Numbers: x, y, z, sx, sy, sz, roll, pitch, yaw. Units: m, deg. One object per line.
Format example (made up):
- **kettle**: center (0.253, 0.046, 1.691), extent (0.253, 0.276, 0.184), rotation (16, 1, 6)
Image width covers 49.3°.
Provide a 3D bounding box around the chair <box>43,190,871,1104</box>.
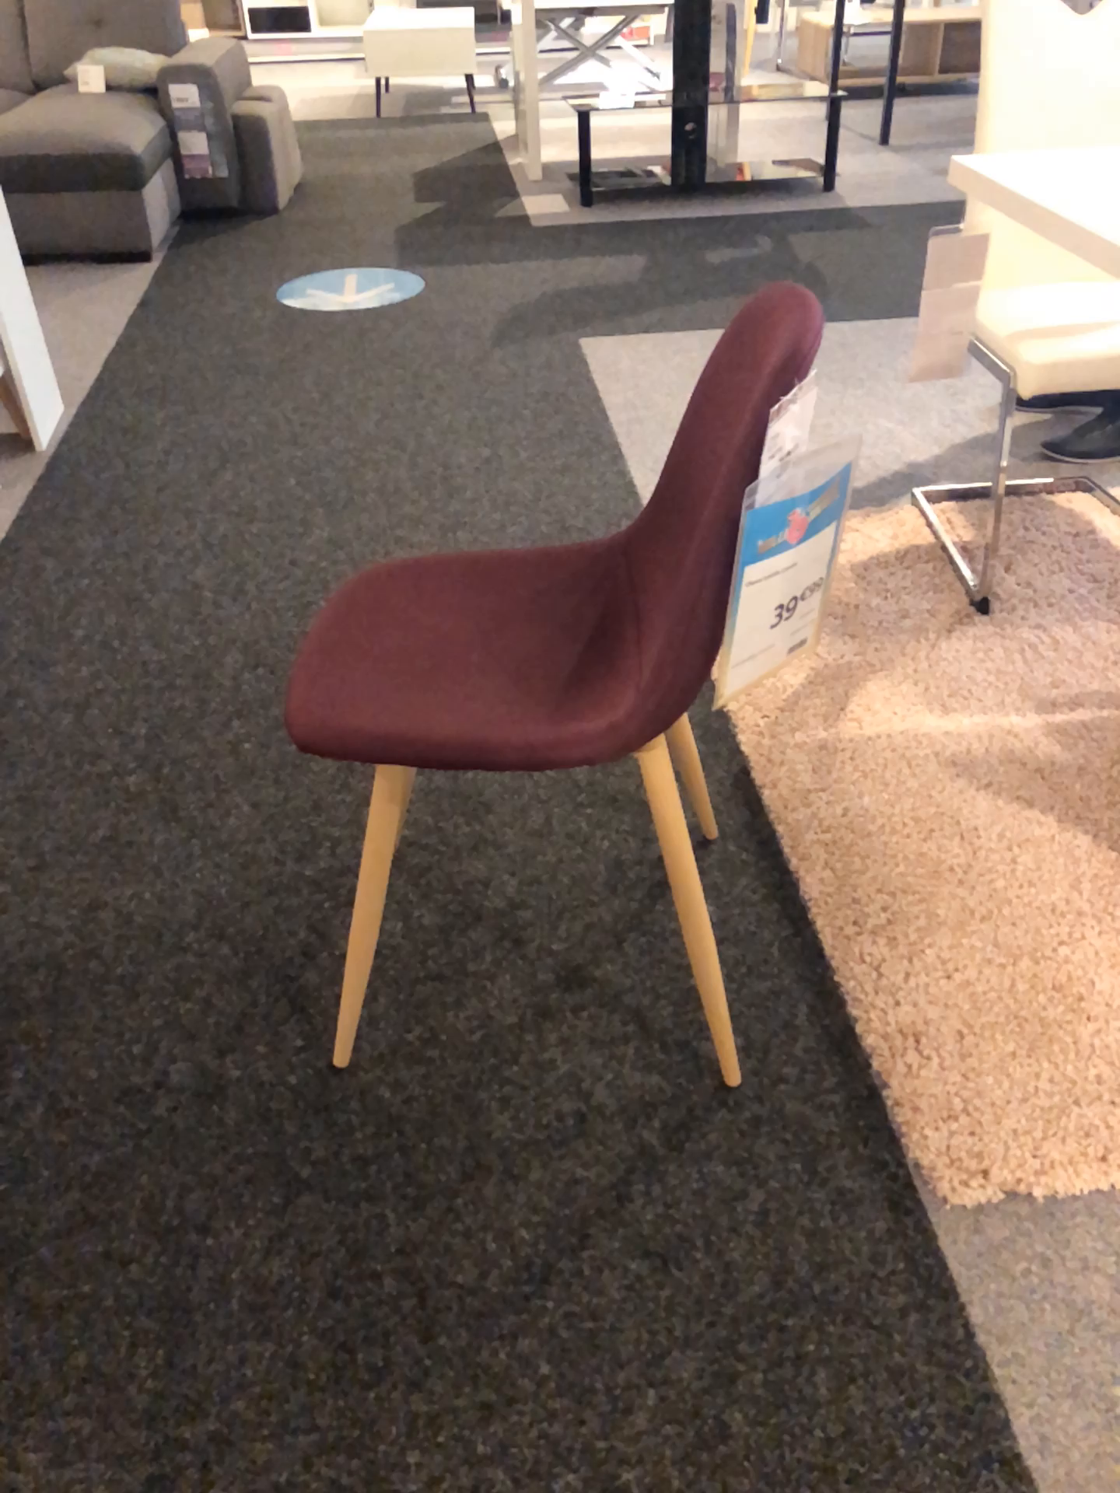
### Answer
- **chair**: center (-0.063, -0.092, 1.258), extent (0.570, 0.795, 0.473), rotation (-1, 34, 0)
